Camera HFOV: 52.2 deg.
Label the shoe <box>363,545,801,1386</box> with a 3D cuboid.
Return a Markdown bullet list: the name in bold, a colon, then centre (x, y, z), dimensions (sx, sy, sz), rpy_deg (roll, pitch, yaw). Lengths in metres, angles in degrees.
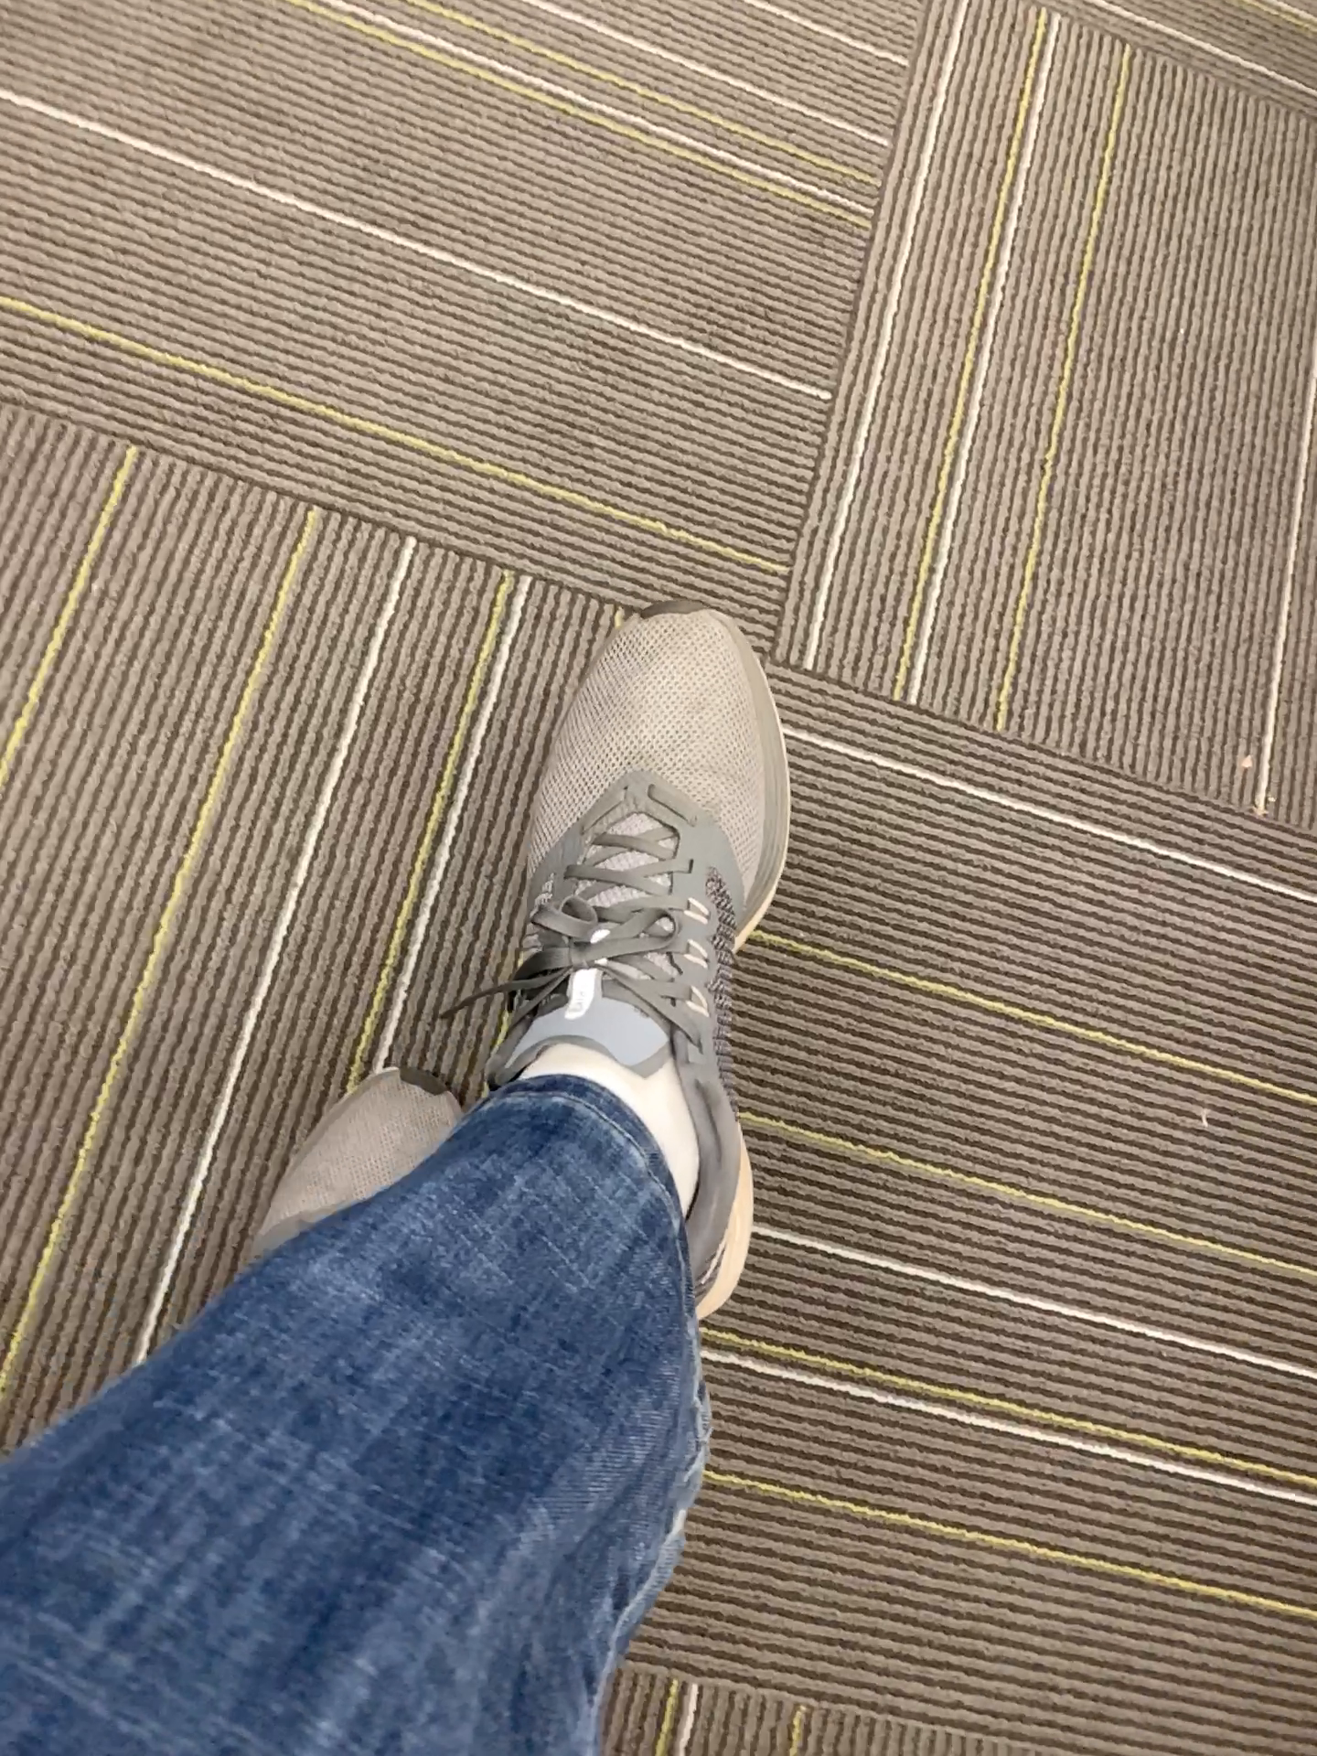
- **shoe**: centre (-0.020, 0.037, 0.535), dimensions (0.127, 0.115, 0.297), rpy_deg (-4, 72, 18)

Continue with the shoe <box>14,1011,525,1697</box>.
- **shoe**: centre (-0.209, 0.254, 0.775), dimensions (0.123, 0.180, 0.310), rpy_deg (26, 73, -6)
